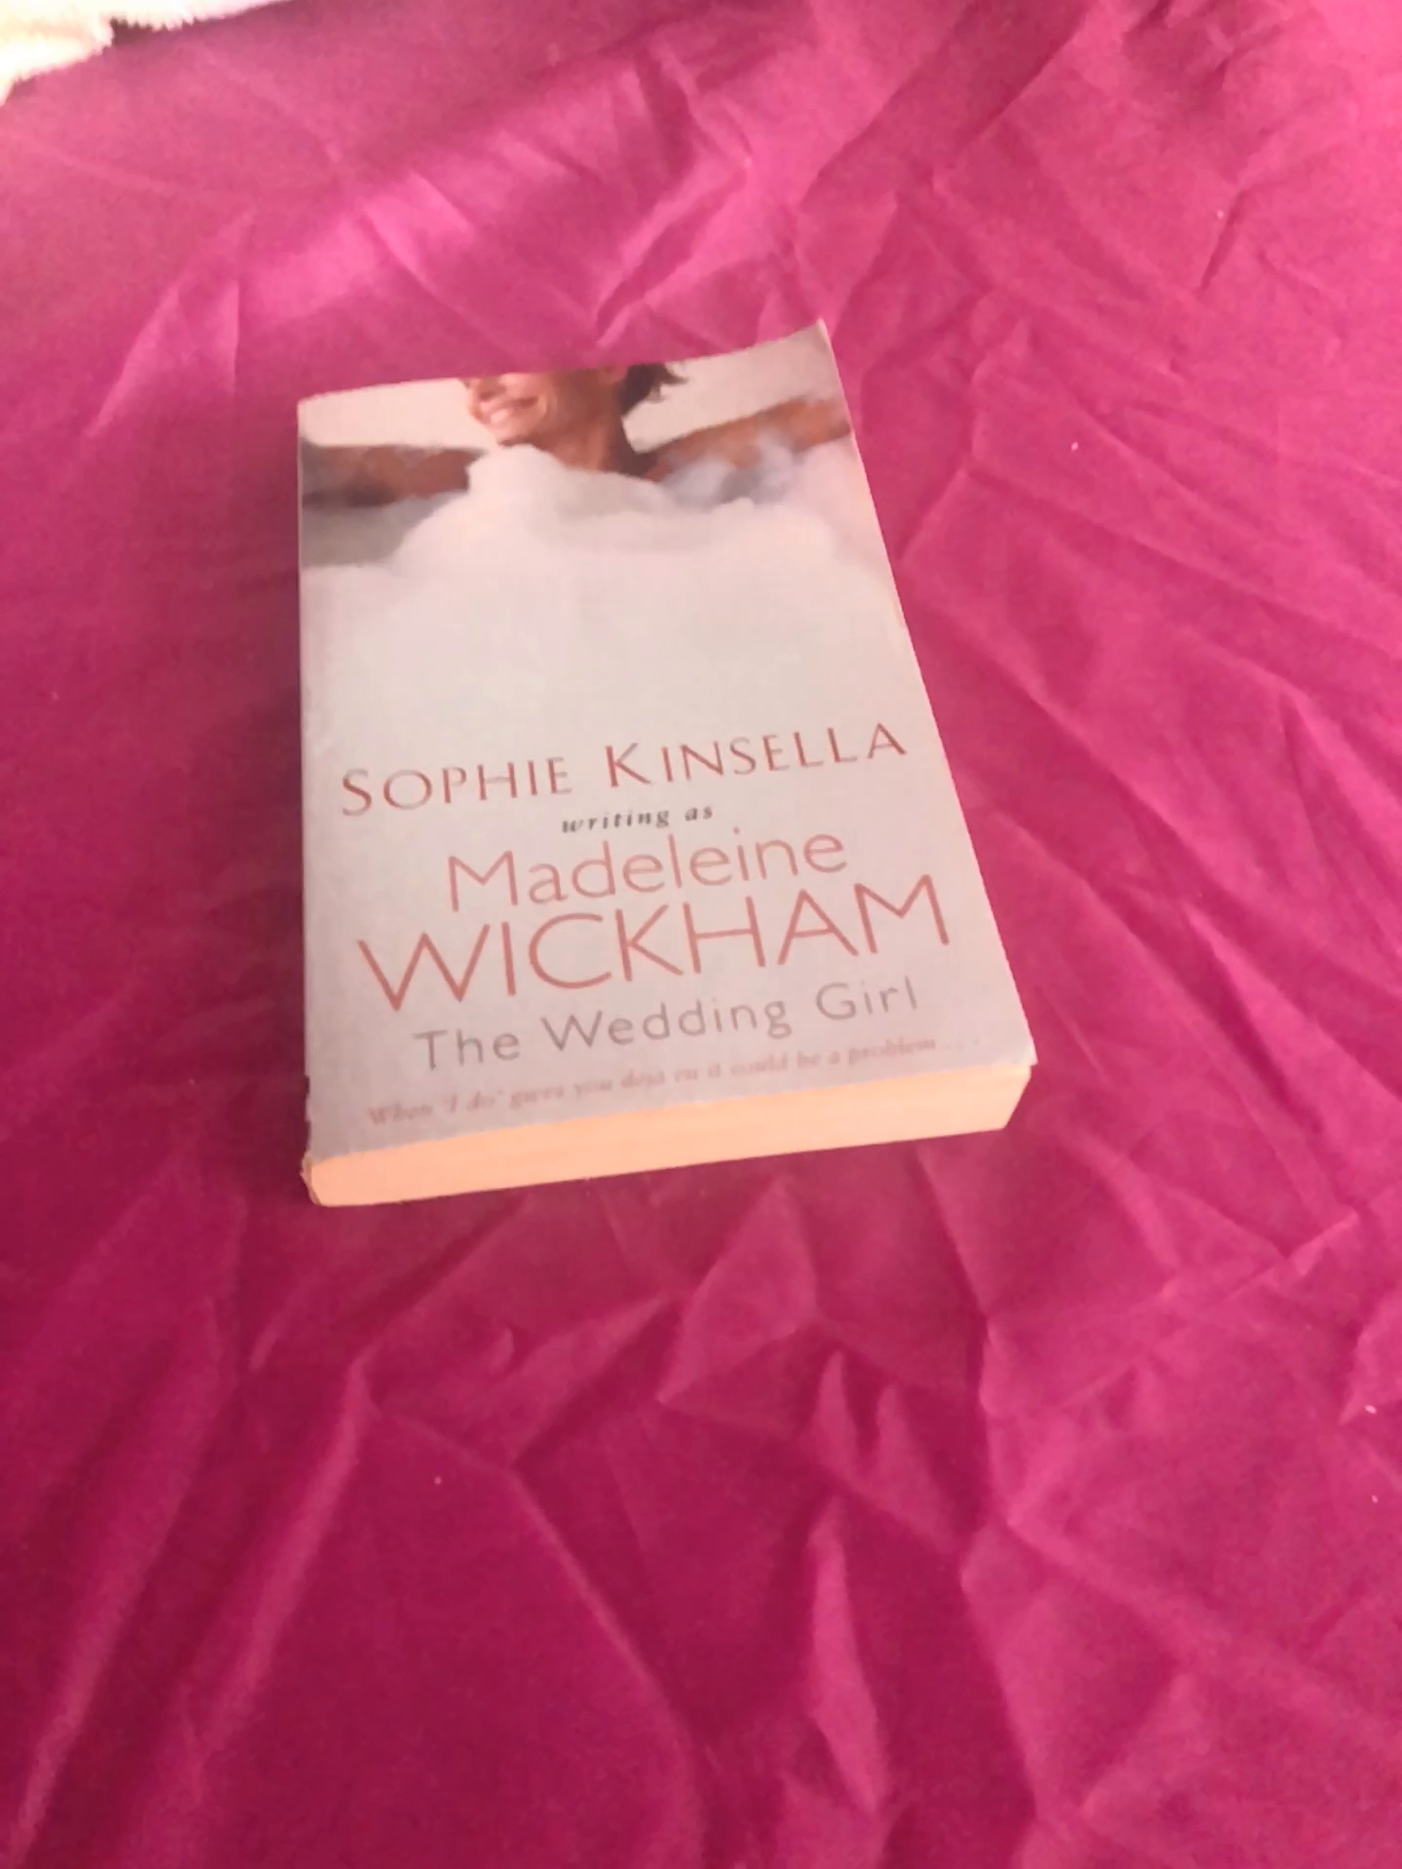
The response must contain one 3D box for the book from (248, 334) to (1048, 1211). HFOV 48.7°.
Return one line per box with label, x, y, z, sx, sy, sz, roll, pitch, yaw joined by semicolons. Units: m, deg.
book;-0.021;-0.049;0.325;0.135;0.027;0.202;-6;57;-6
